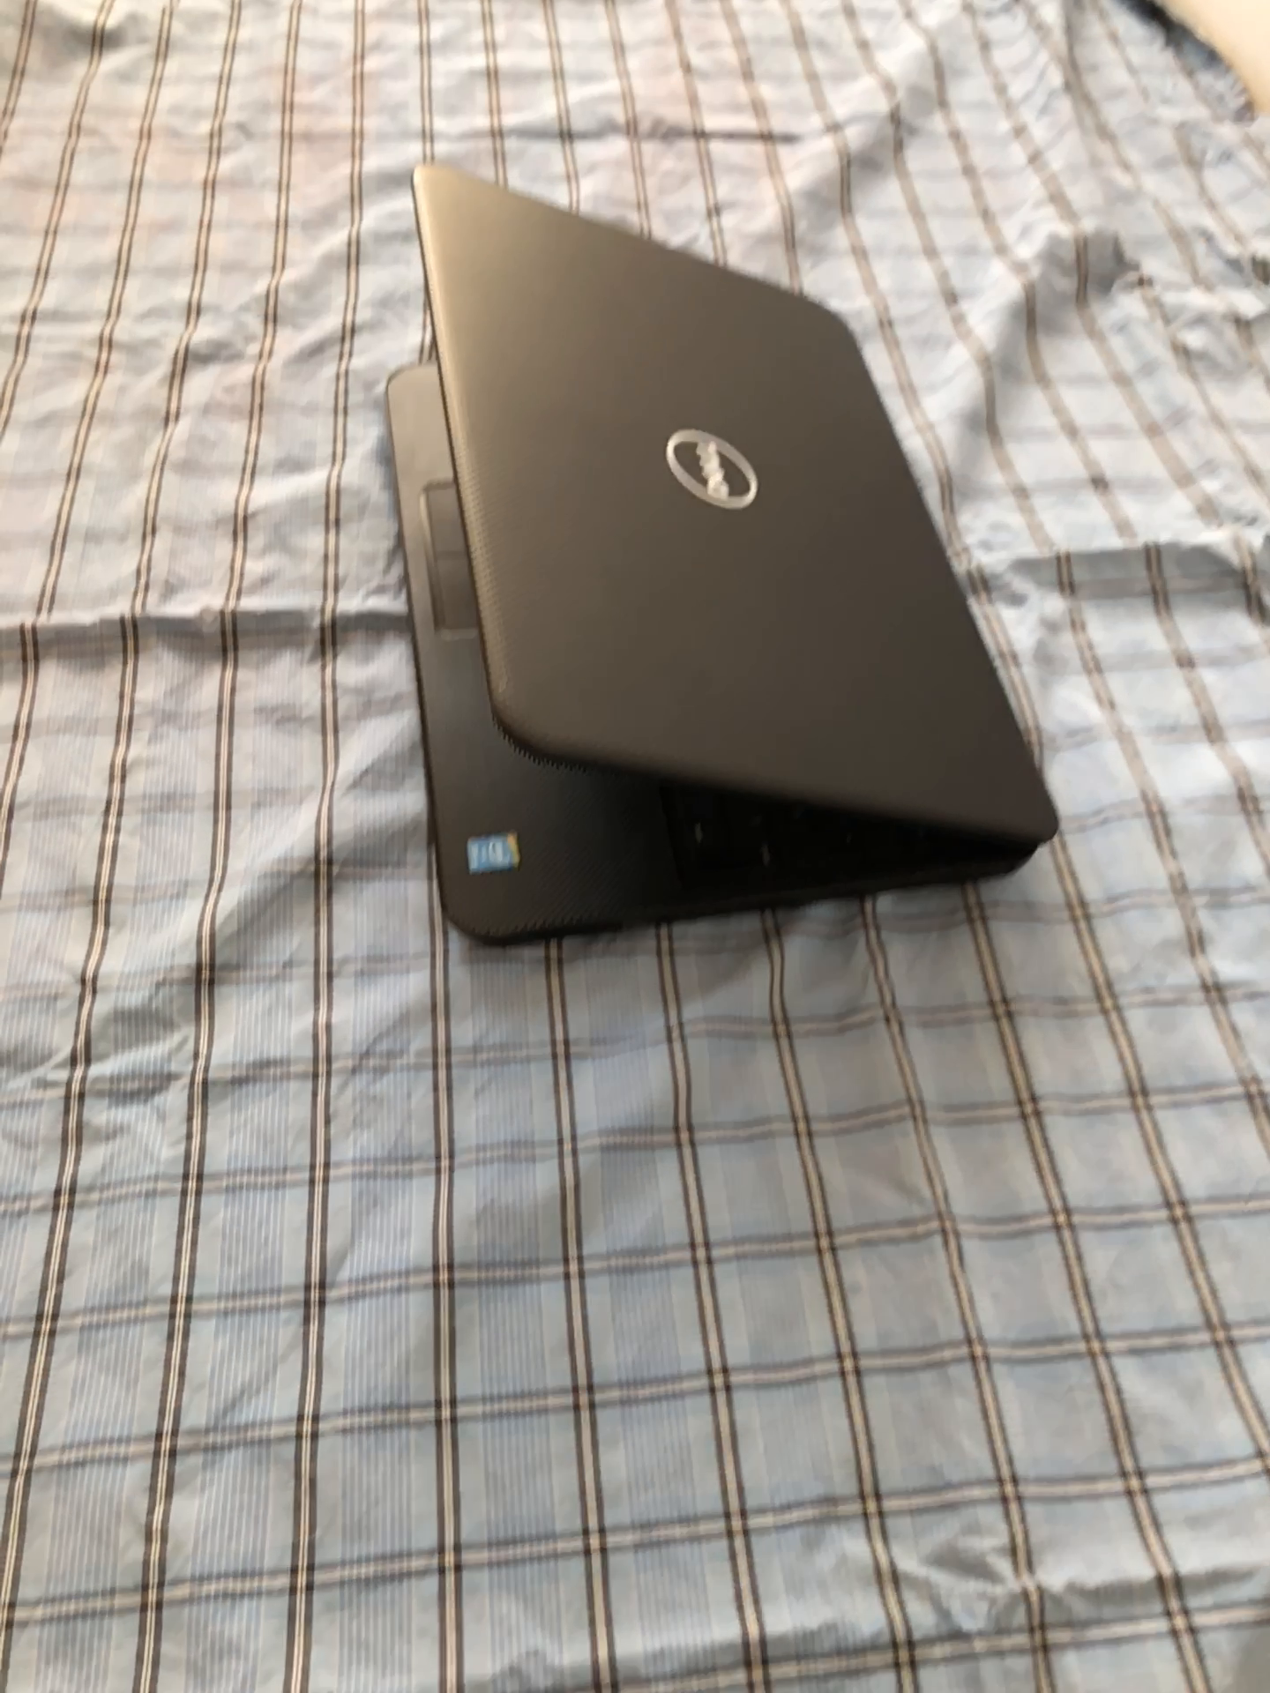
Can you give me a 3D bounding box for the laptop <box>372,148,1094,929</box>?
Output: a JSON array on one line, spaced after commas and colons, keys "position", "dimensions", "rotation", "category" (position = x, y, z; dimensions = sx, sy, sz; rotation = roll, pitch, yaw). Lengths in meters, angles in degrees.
[{"position": [0.015, -0.153, 0.610], "dimensions": [0.223, 0.099, 0.352], "rotation": [-8, 56, -6], "category": "laptop"}]
